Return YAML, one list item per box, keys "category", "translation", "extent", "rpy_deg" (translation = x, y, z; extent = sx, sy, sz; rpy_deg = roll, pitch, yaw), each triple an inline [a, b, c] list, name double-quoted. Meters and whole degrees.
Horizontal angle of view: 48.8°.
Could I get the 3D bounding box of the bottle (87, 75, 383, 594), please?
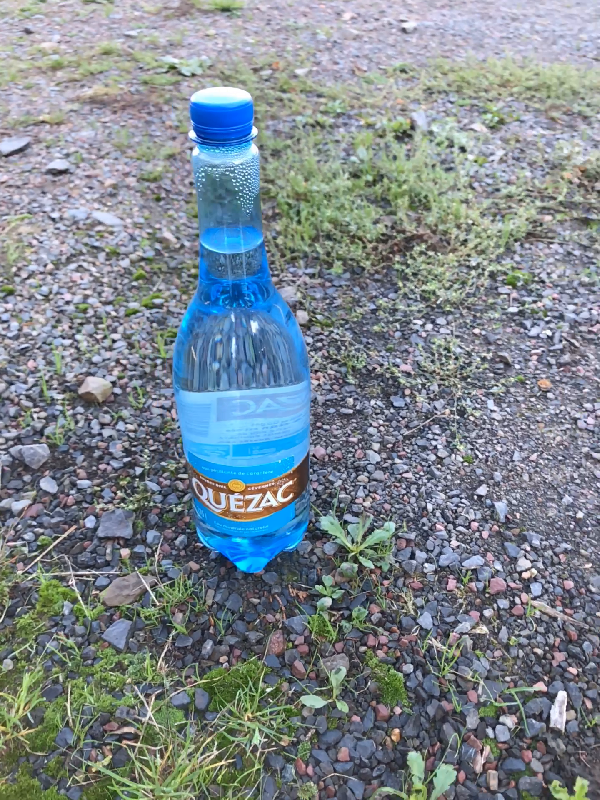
- category: "bottle"
  translation: [-0.024, -0.019, 0.406]
  extent: [0.110, 0.298, 0.111]
  rpy_deg: [0, 43, 0]
